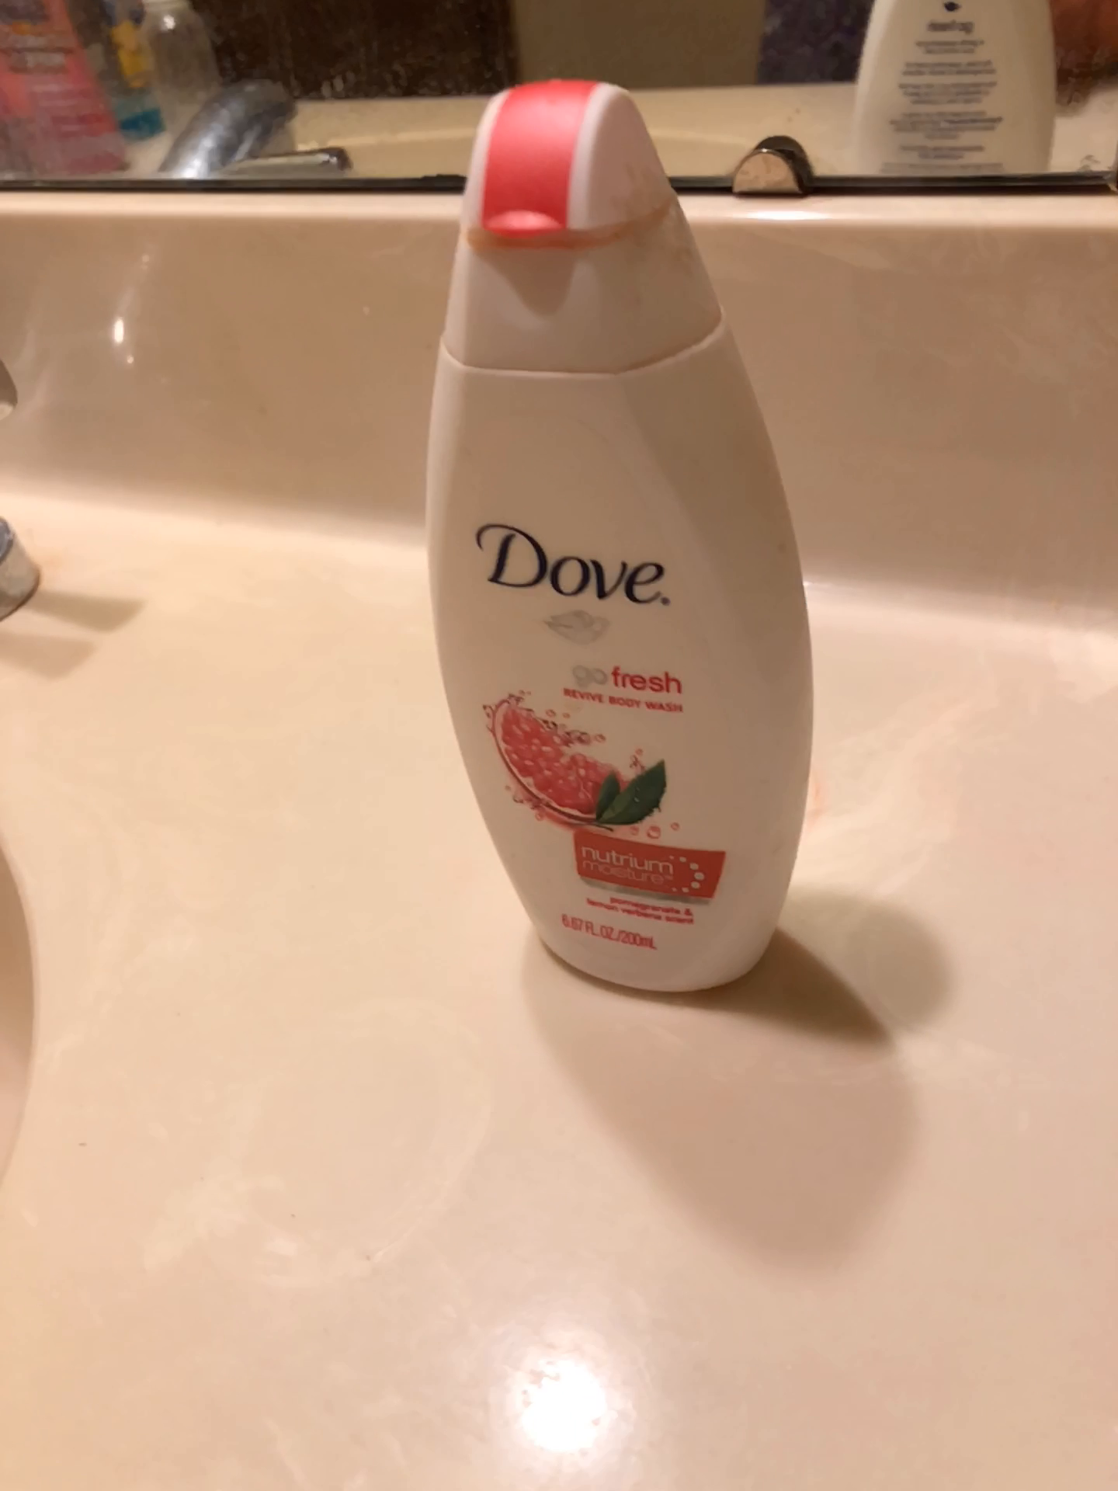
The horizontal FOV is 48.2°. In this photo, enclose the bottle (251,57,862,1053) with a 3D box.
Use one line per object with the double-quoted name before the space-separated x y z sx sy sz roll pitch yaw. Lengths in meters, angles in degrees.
"bottle" 0.009 -0.022 0.213 0.070 0.160 0.040 11 43 23
